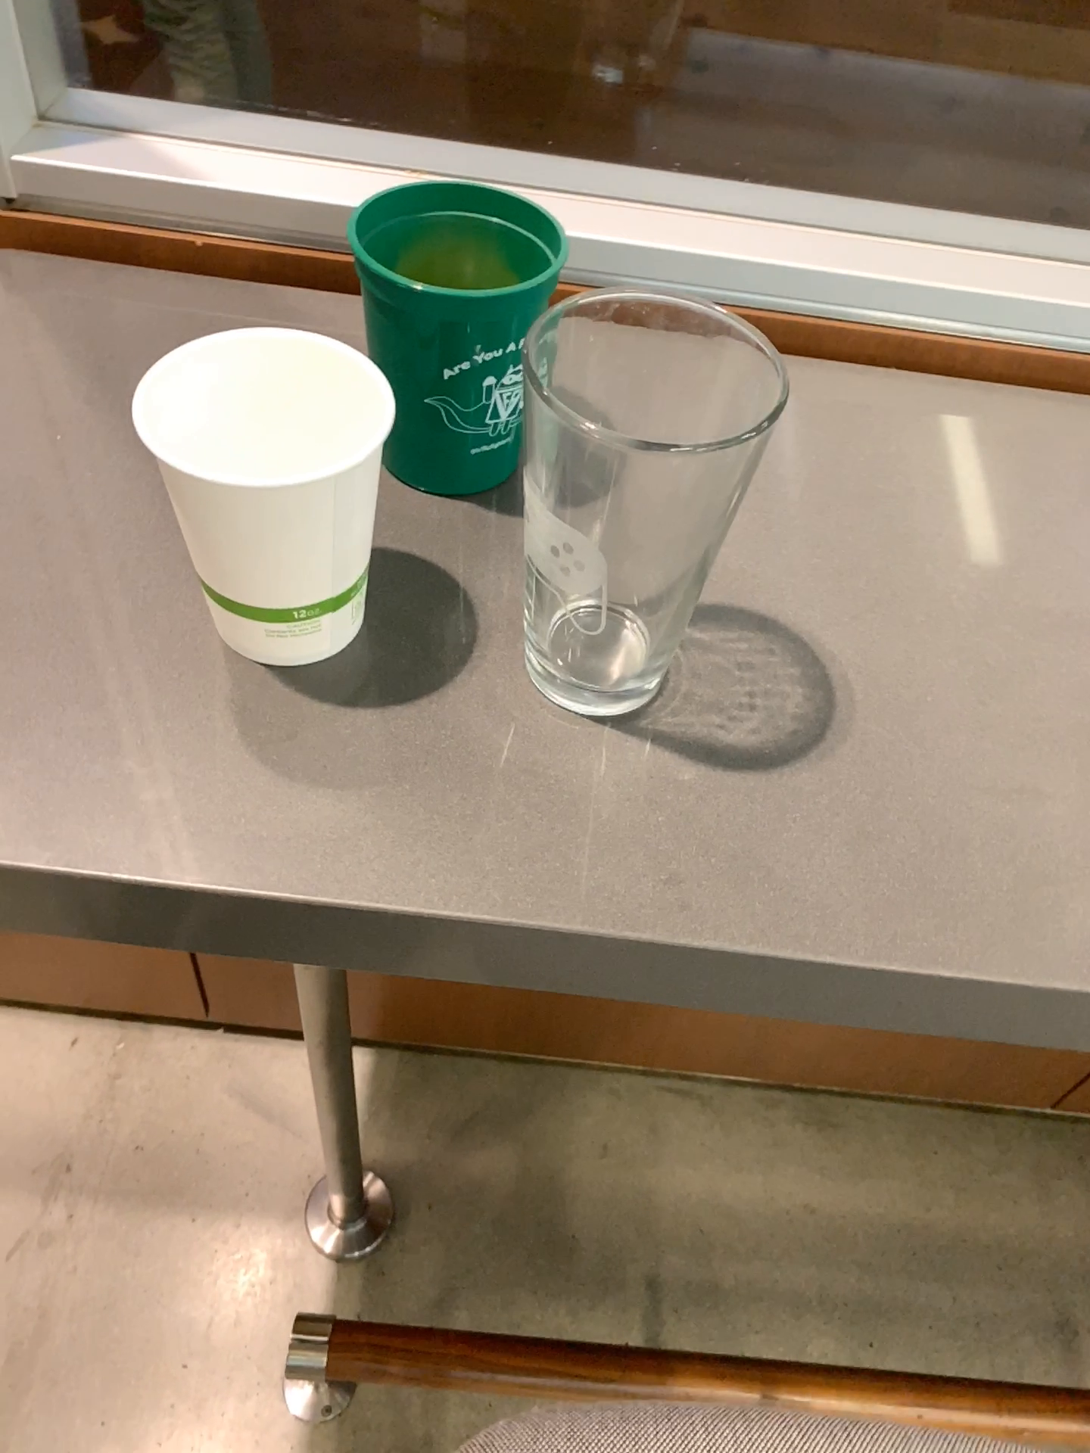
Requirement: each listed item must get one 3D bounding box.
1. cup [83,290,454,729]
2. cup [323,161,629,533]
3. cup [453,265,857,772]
[{"bbox_3d":[-0.100,-0.083,0.428,0.090,0.109,0.090,4,50,-5],"label":"cup"},{"bbox_3d":[-0.034,-0.169,0.499,0.090,0.109,0.090,4,50,-5],"label":"cup"},{"bbox_3d":[0.030,-0.074,0.412,0.090,0.139,0.090,4,50,-5],"label":"cup"}]
